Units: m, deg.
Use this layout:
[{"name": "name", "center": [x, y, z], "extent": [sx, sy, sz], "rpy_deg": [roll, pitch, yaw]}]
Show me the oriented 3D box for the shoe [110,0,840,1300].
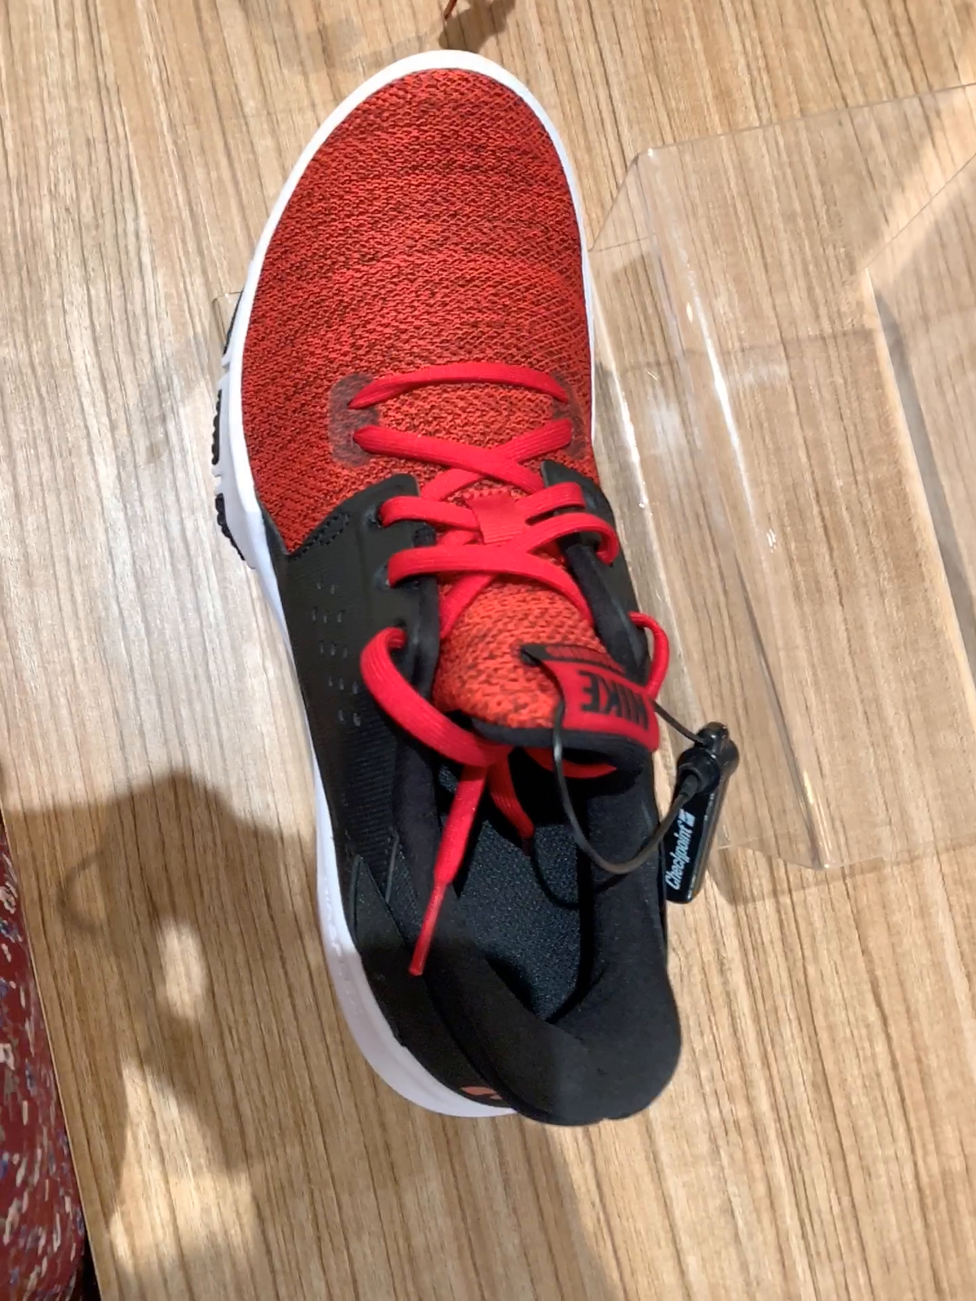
[{"name": "shoe", "center": [-0.009, -0.022, 0.243], "extent": [0.110, 0.080, 0.290], "rpy_deg": [-7, 86, -11]}]
